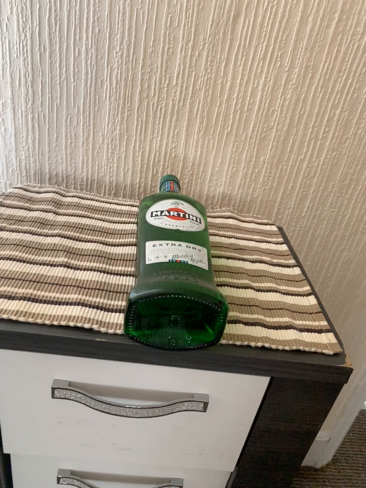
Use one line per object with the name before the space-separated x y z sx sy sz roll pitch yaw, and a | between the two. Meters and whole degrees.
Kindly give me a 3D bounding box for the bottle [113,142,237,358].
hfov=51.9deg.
bottle | -0.014 -0.025 0.436 0.090 0.069 0.323 7 33 -7
